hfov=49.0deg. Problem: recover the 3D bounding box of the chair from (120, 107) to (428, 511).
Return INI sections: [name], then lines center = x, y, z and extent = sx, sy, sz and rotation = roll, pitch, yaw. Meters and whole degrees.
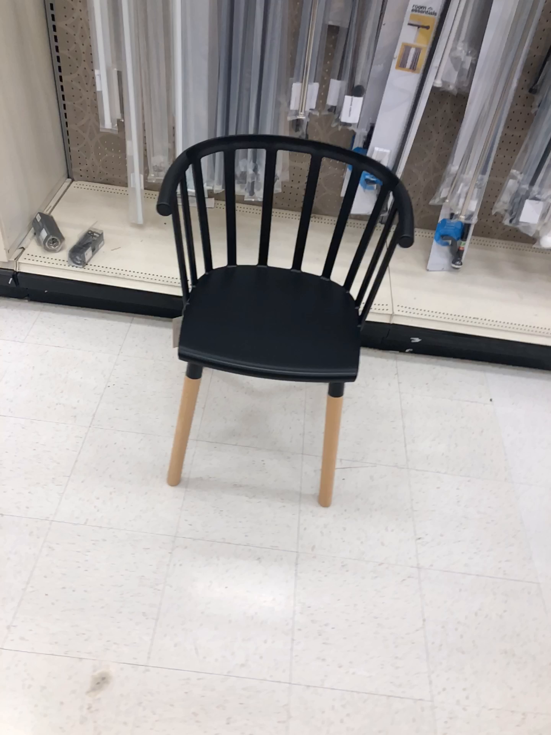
[chair]
center = -0.014, -0.130, 1.496
extent = 0.534, 0.731, 0.570
rotation = 8, 43, 0
